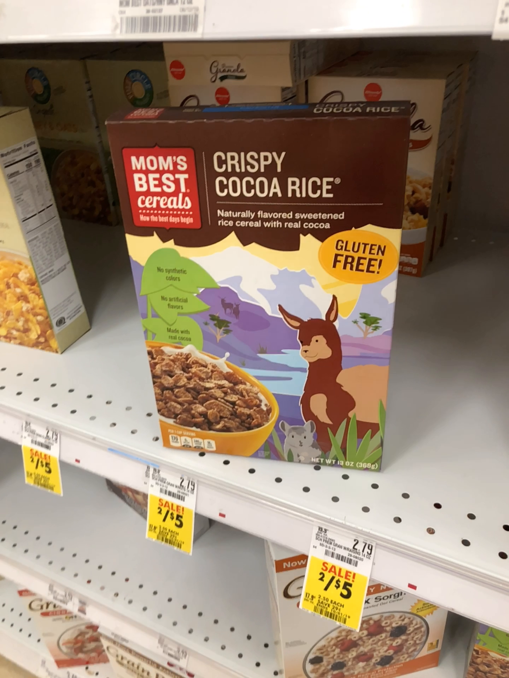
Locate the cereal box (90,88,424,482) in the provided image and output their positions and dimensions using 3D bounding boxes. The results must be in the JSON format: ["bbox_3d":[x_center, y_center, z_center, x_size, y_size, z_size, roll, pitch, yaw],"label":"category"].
[{"bbox_3d":[0.012,-0.033,0.433,0.200,0.279,0.080,4,31,13],"label":"cereal box"}]
